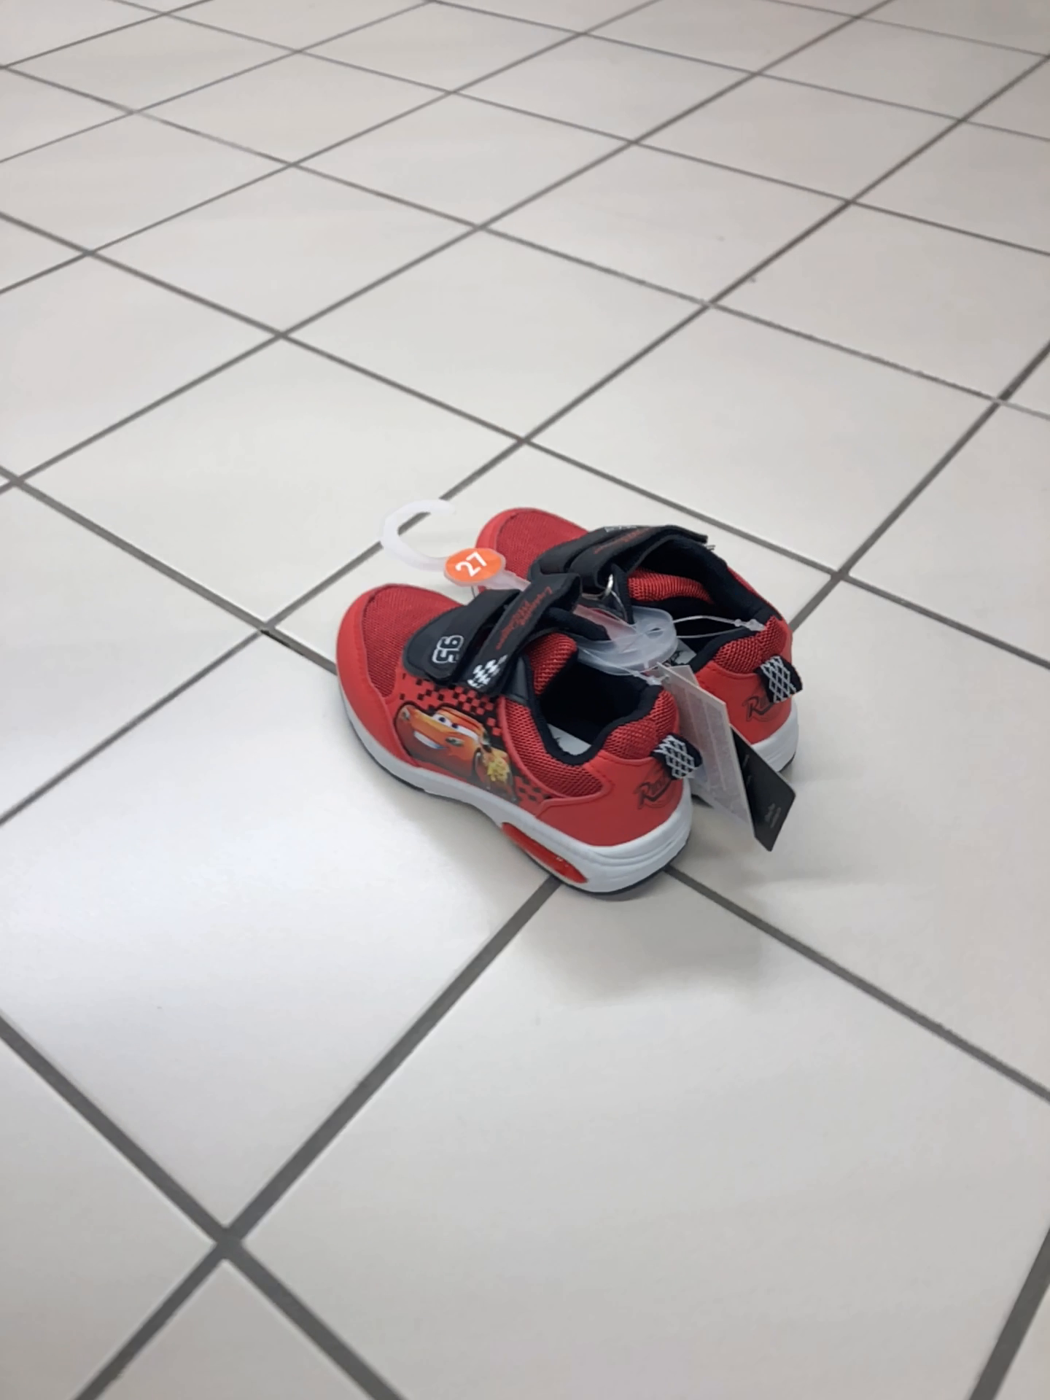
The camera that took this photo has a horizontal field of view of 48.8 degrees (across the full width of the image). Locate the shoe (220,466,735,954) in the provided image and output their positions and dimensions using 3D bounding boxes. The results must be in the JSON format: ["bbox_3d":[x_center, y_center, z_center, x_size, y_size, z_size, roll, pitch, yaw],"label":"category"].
[{"bbox_3d":[-0.024,-0.006,0.464,0.088,0.074,0.195,-35,54,-28],"label":"shoe"}]

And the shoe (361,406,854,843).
[{"bbox_3d":[0.028,-0.041,0.499,0.088,0.073,0.195,-35,54,-28],"label":"shoe"}]
